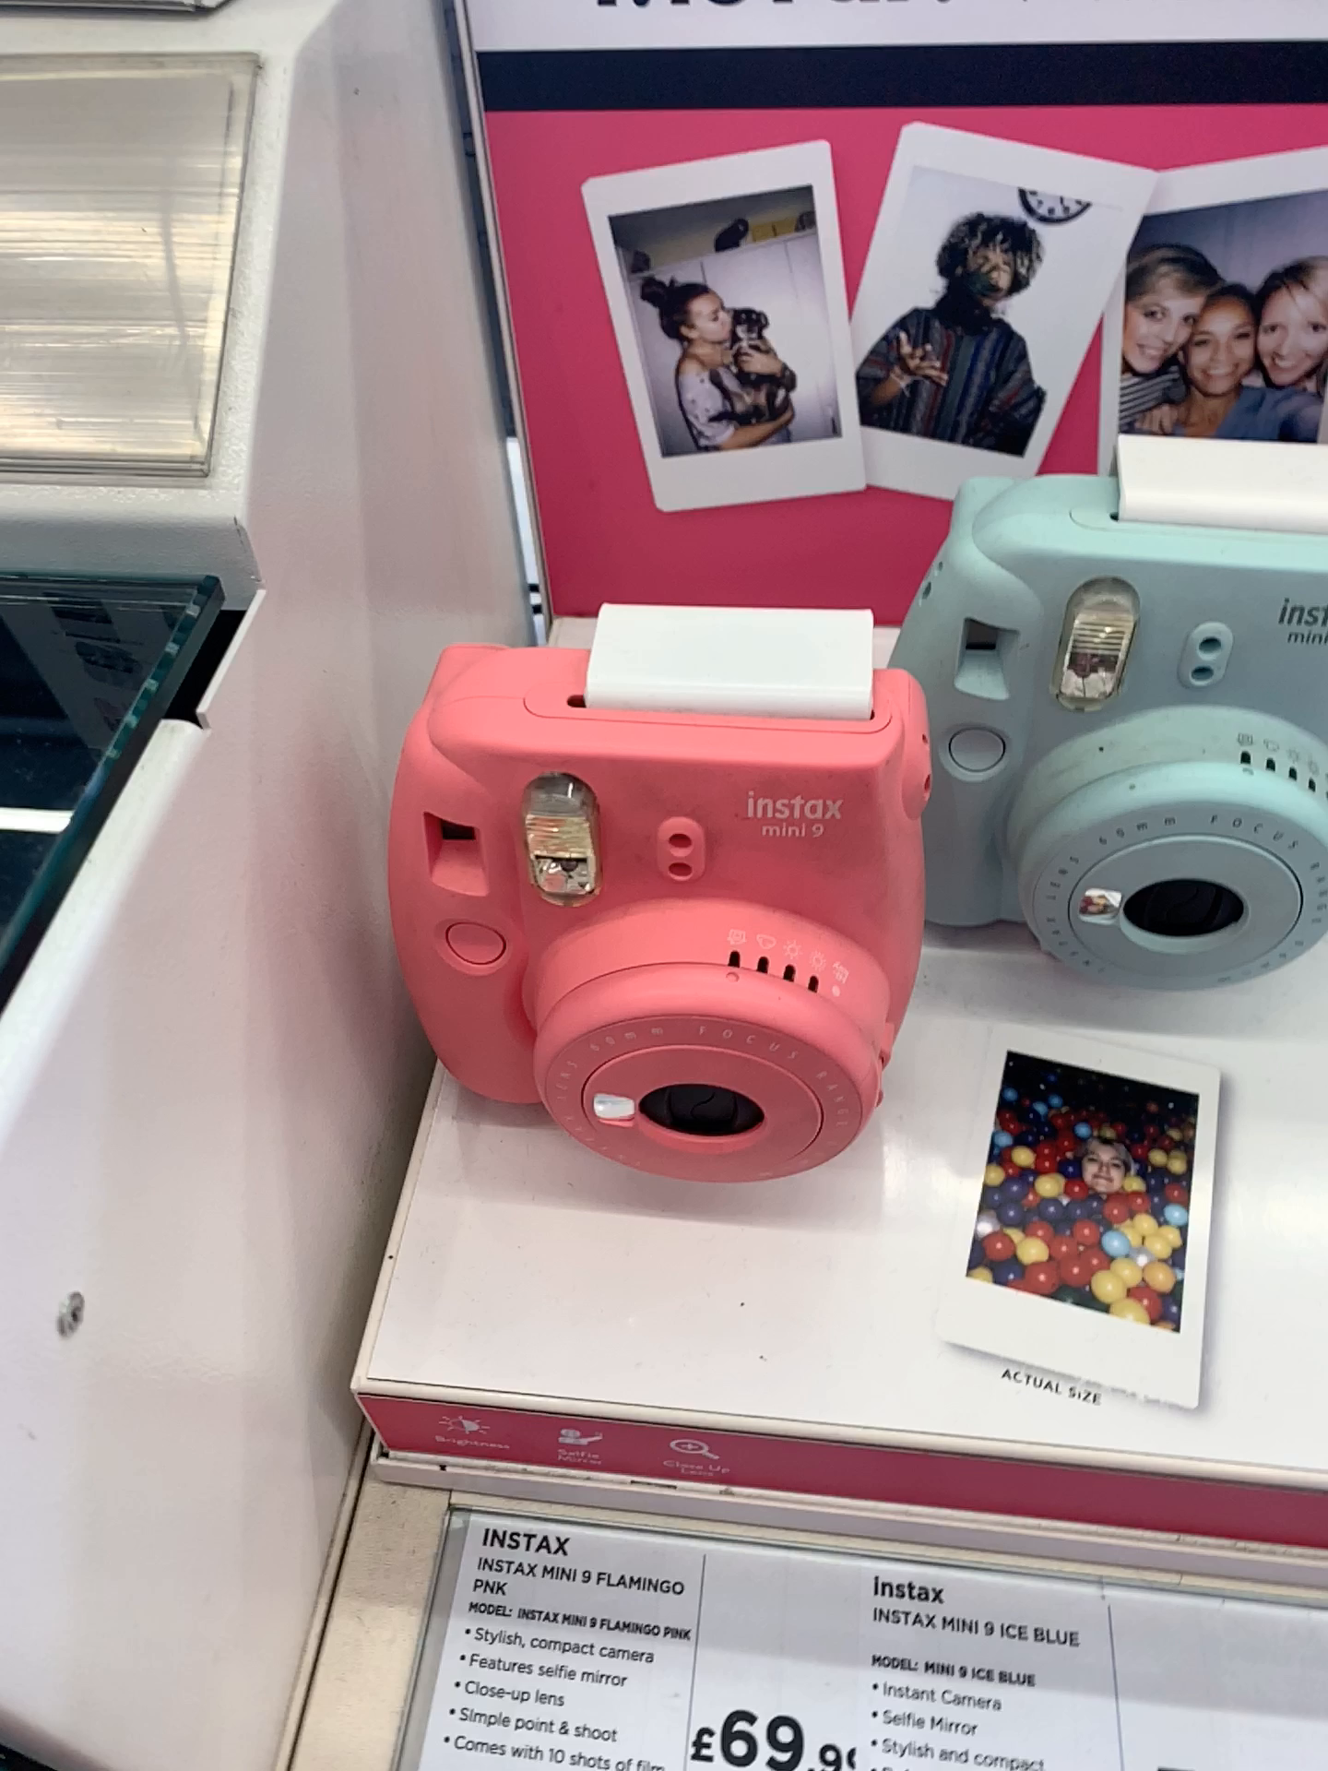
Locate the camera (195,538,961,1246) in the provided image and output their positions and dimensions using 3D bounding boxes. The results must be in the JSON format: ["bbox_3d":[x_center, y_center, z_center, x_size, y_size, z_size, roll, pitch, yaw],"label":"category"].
[{"bbox_3d":[-0.008,0.004,0.282,0.120,0.119,0.081,3,49,6],"label":"camera"}]
